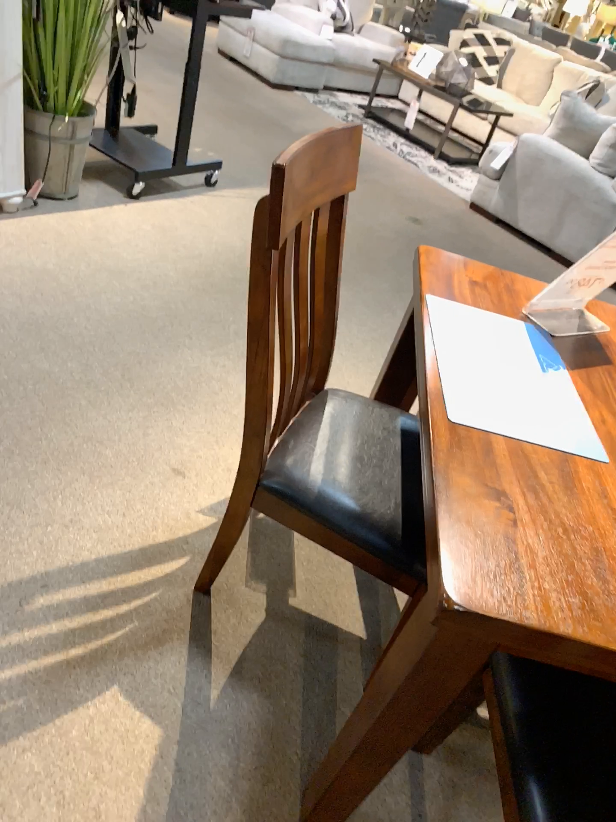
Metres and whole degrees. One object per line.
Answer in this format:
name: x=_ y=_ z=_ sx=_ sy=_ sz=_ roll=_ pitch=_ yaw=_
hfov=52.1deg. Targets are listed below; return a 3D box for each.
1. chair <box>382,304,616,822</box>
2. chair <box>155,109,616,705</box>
chair: x=0.524 y=0.446 z=0.832 sx=0.591 sy=0.890 sz=0.532 roll=15 pitch=36 yaw=-5
chair: x=0.131 y=-0.004 z=1.238 sx=0.539 sy=0.890 sz=0.534 roll=26 pitch=37 yaw=10
